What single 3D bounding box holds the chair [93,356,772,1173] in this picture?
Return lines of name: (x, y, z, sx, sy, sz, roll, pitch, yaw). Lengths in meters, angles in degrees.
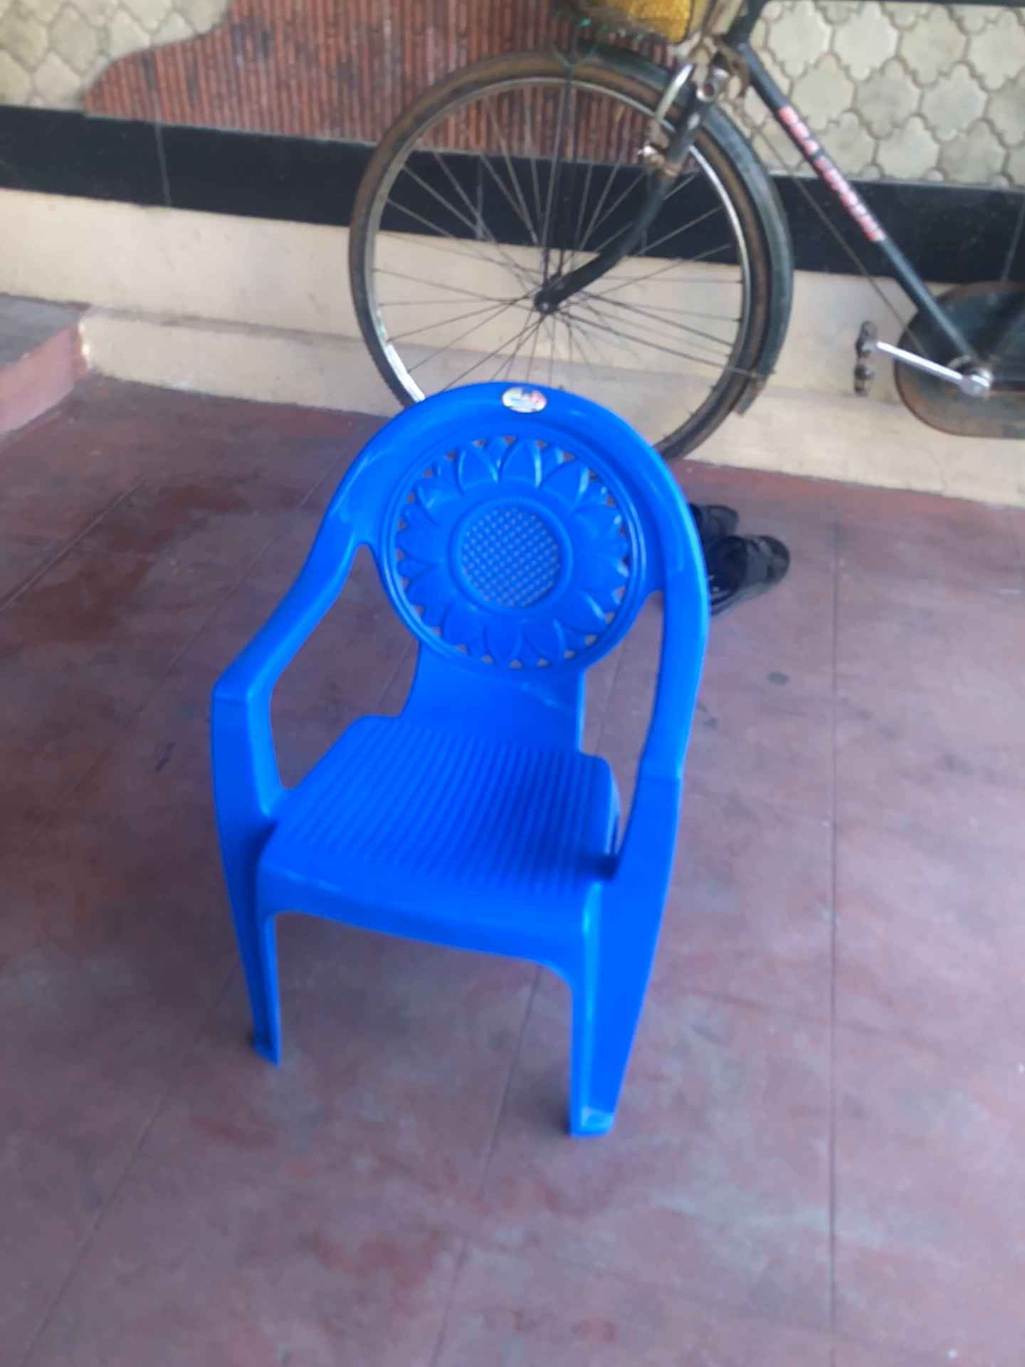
chair: (-0.026, 0.051, 1.004, 0.400, 0.497, 0.453, 10, 38, 11)
